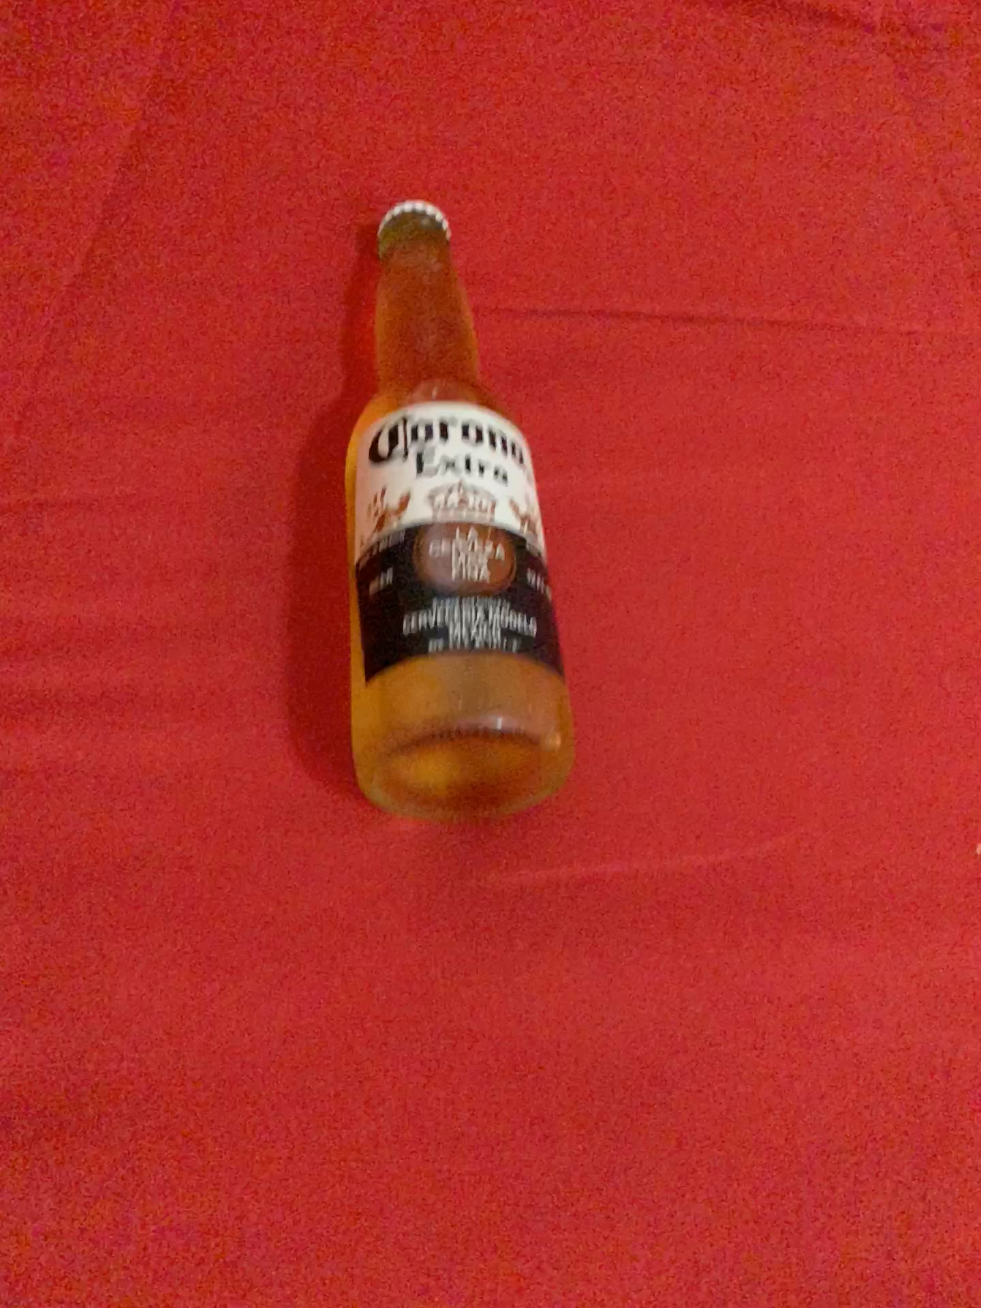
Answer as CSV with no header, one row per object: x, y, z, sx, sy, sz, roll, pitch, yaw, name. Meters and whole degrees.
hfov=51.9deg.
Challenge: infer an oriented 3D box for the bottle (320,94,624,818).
-0.018,-0.078,0.340,0.070,0.070,0.250,-2,61,-9,bottle
